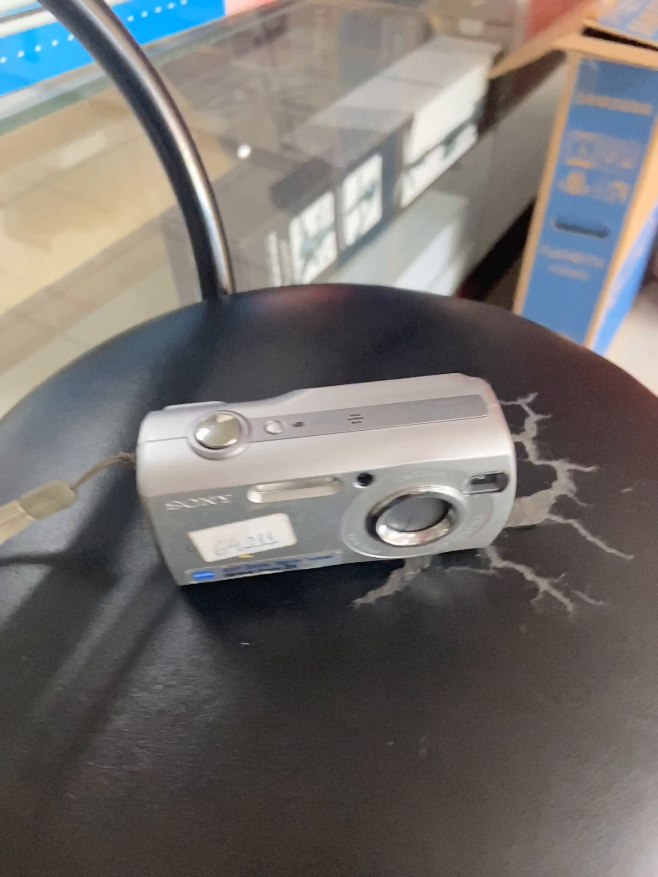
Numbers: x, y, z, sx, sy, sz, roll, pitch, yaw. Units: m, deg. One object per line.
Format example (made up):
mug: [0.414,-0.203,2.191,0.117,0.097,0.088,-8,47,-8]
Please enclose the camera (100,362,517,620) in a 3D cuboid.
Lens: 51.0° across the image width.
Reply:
camera: [-0.006,0.015,0.196,0.100,0.050,0.040,-6,46,-4]
